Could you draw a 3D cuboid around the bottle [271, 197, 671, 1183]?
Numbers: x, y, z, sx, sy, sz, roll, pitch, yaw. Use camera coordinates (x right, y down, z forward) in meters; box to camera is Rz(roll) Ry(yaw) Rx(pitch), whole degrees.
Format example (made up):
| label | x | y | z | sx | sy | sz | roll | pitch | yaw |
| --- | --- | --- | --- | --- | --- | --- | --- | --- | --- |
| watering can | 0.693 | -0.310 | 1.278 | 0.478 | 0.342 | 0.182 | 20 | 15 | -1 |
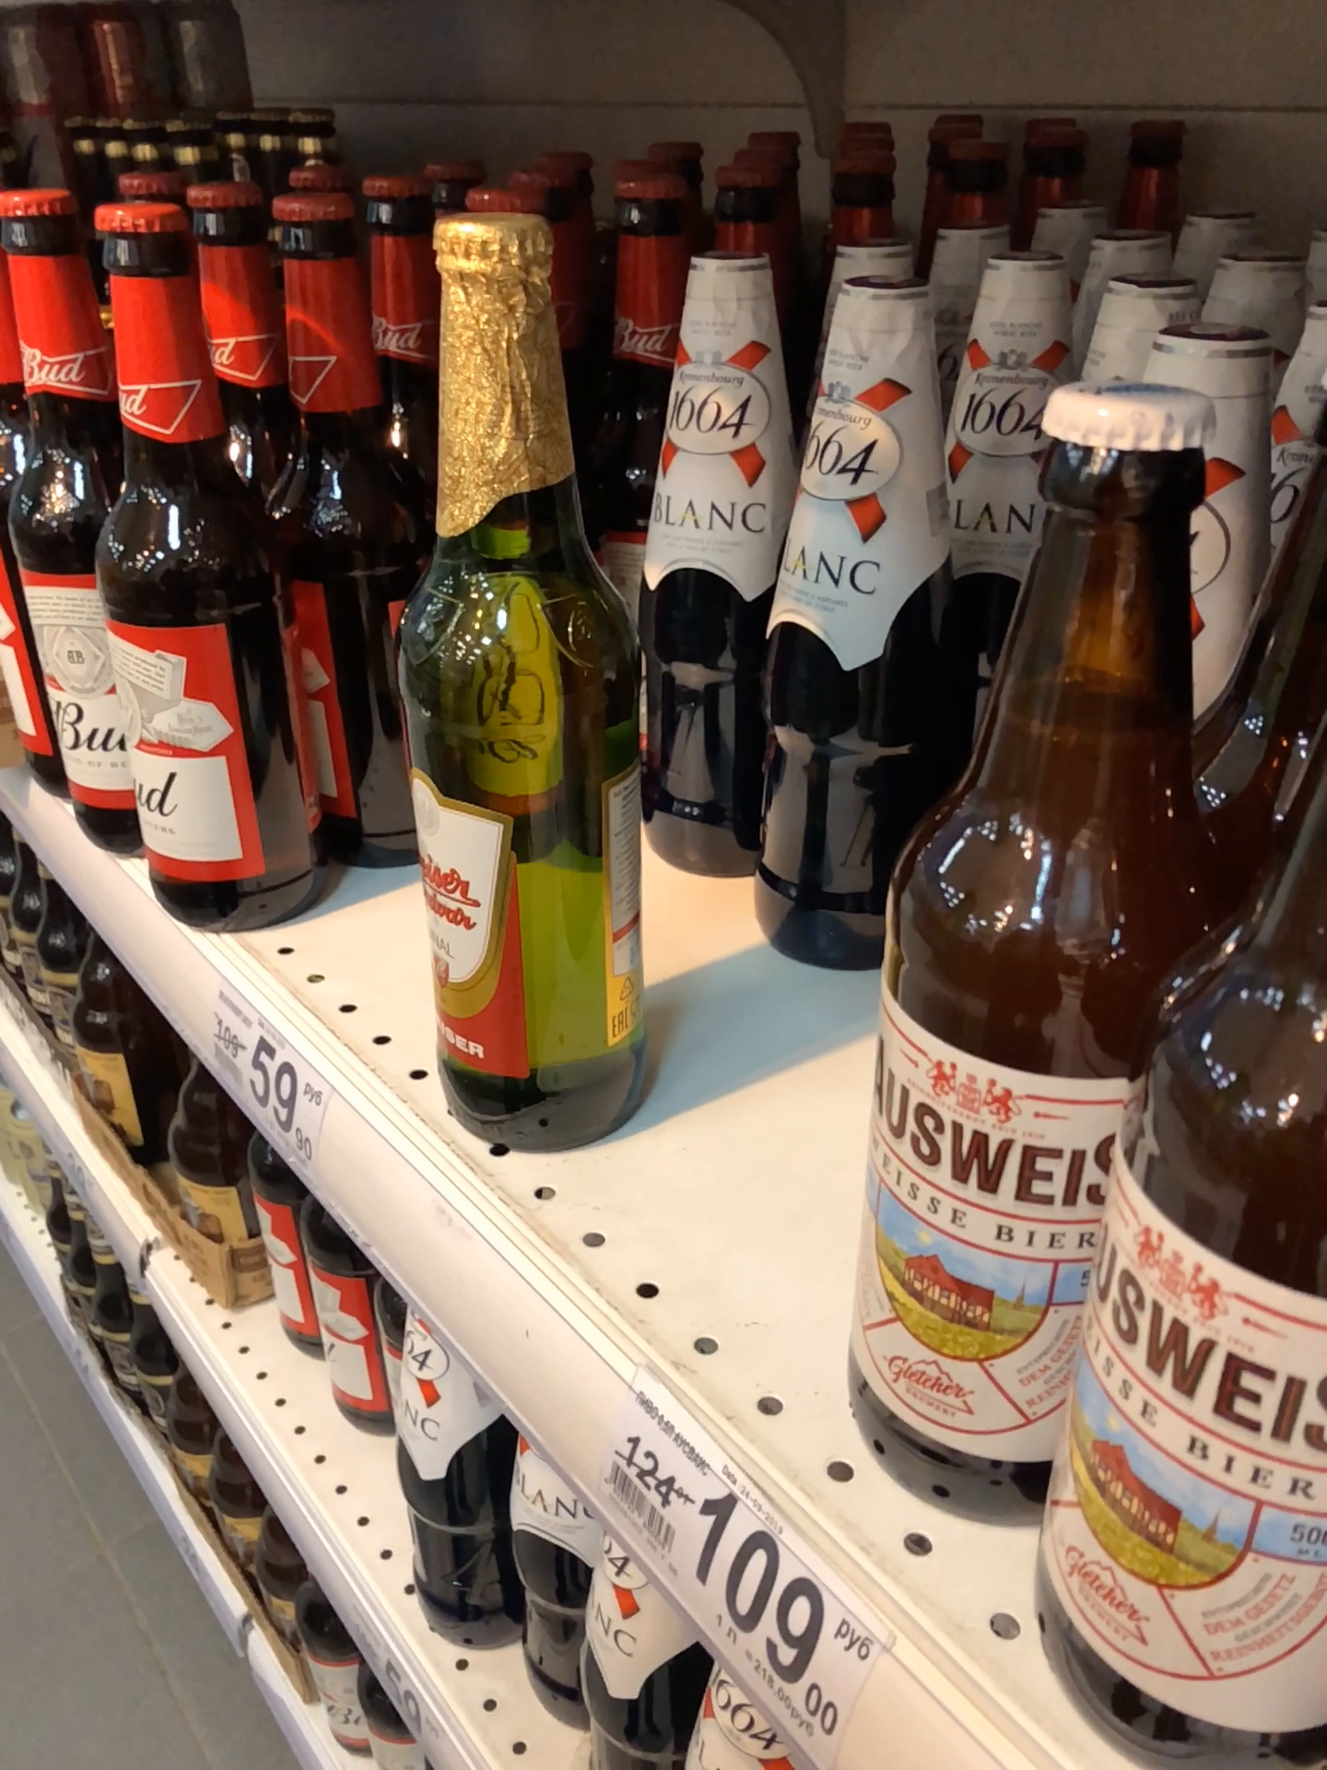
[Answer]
| label | x | y | z | sx | sy | sz | roll | pitch | yaw |
| --- | --- | --- | --- | --- | --- | --- | --- | --- | --- |
| bottle | -0.049 | -0.049 | 0.411 | 0.070 | 0.254 | 0.080 | -12 | 30 | -18 |
